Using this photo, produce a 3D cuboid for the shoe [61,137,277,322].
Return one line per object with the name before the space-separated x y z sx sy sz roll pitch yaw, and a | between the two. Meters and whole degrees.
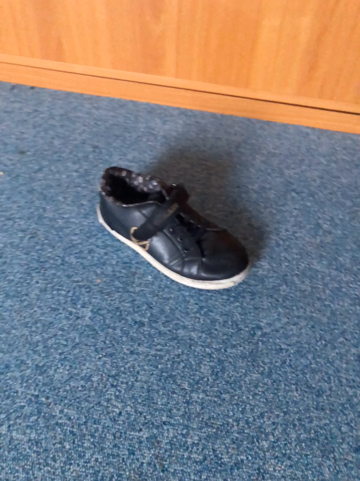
shoe | -0.017 -0.021 0.495 0.230 0.090 0.111 30 55 19
